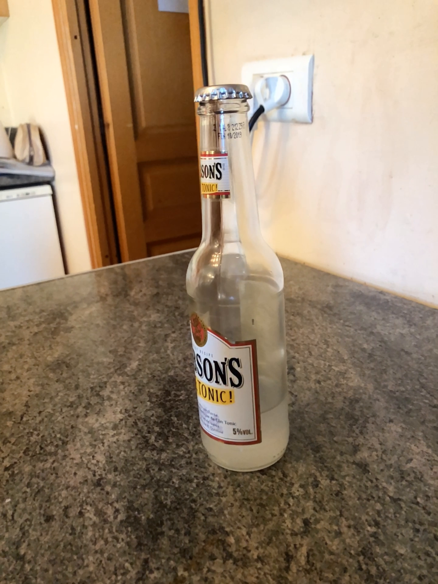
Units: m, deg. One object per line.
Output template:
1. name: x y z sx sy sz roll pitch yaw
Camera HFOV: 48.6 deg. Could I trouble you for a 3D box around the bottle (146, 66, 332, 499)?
1. bottle: 0.013 -0.005 0.266 0.060 0.209 0.070 -15 22 -31
